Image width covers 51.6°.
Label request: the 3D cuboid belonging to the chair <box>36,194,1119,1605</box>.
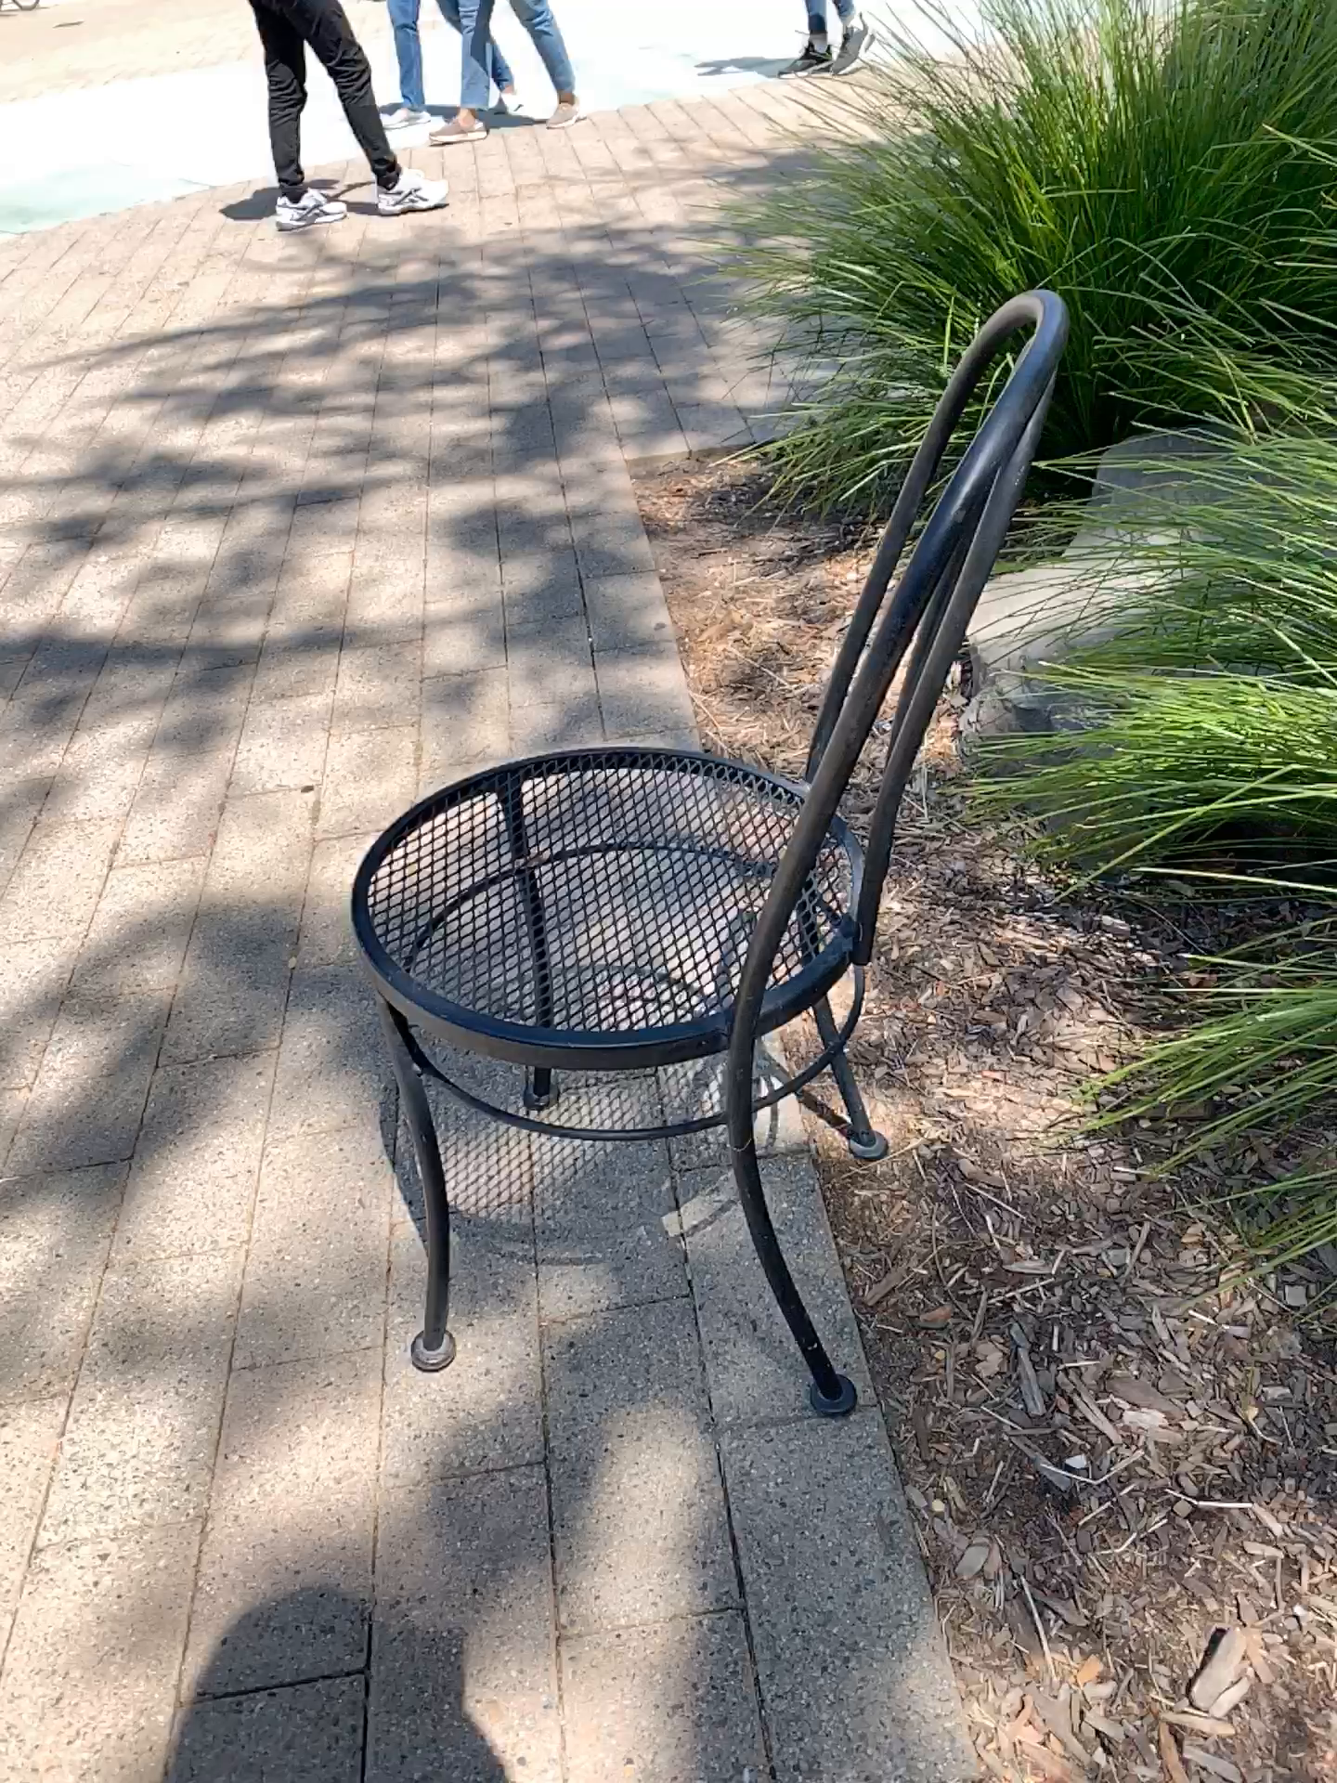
[{"bbox_3d":[0.032,0.051,1.117,0.532,0.997,0.460,4,38,14],"label":"chair"}]
